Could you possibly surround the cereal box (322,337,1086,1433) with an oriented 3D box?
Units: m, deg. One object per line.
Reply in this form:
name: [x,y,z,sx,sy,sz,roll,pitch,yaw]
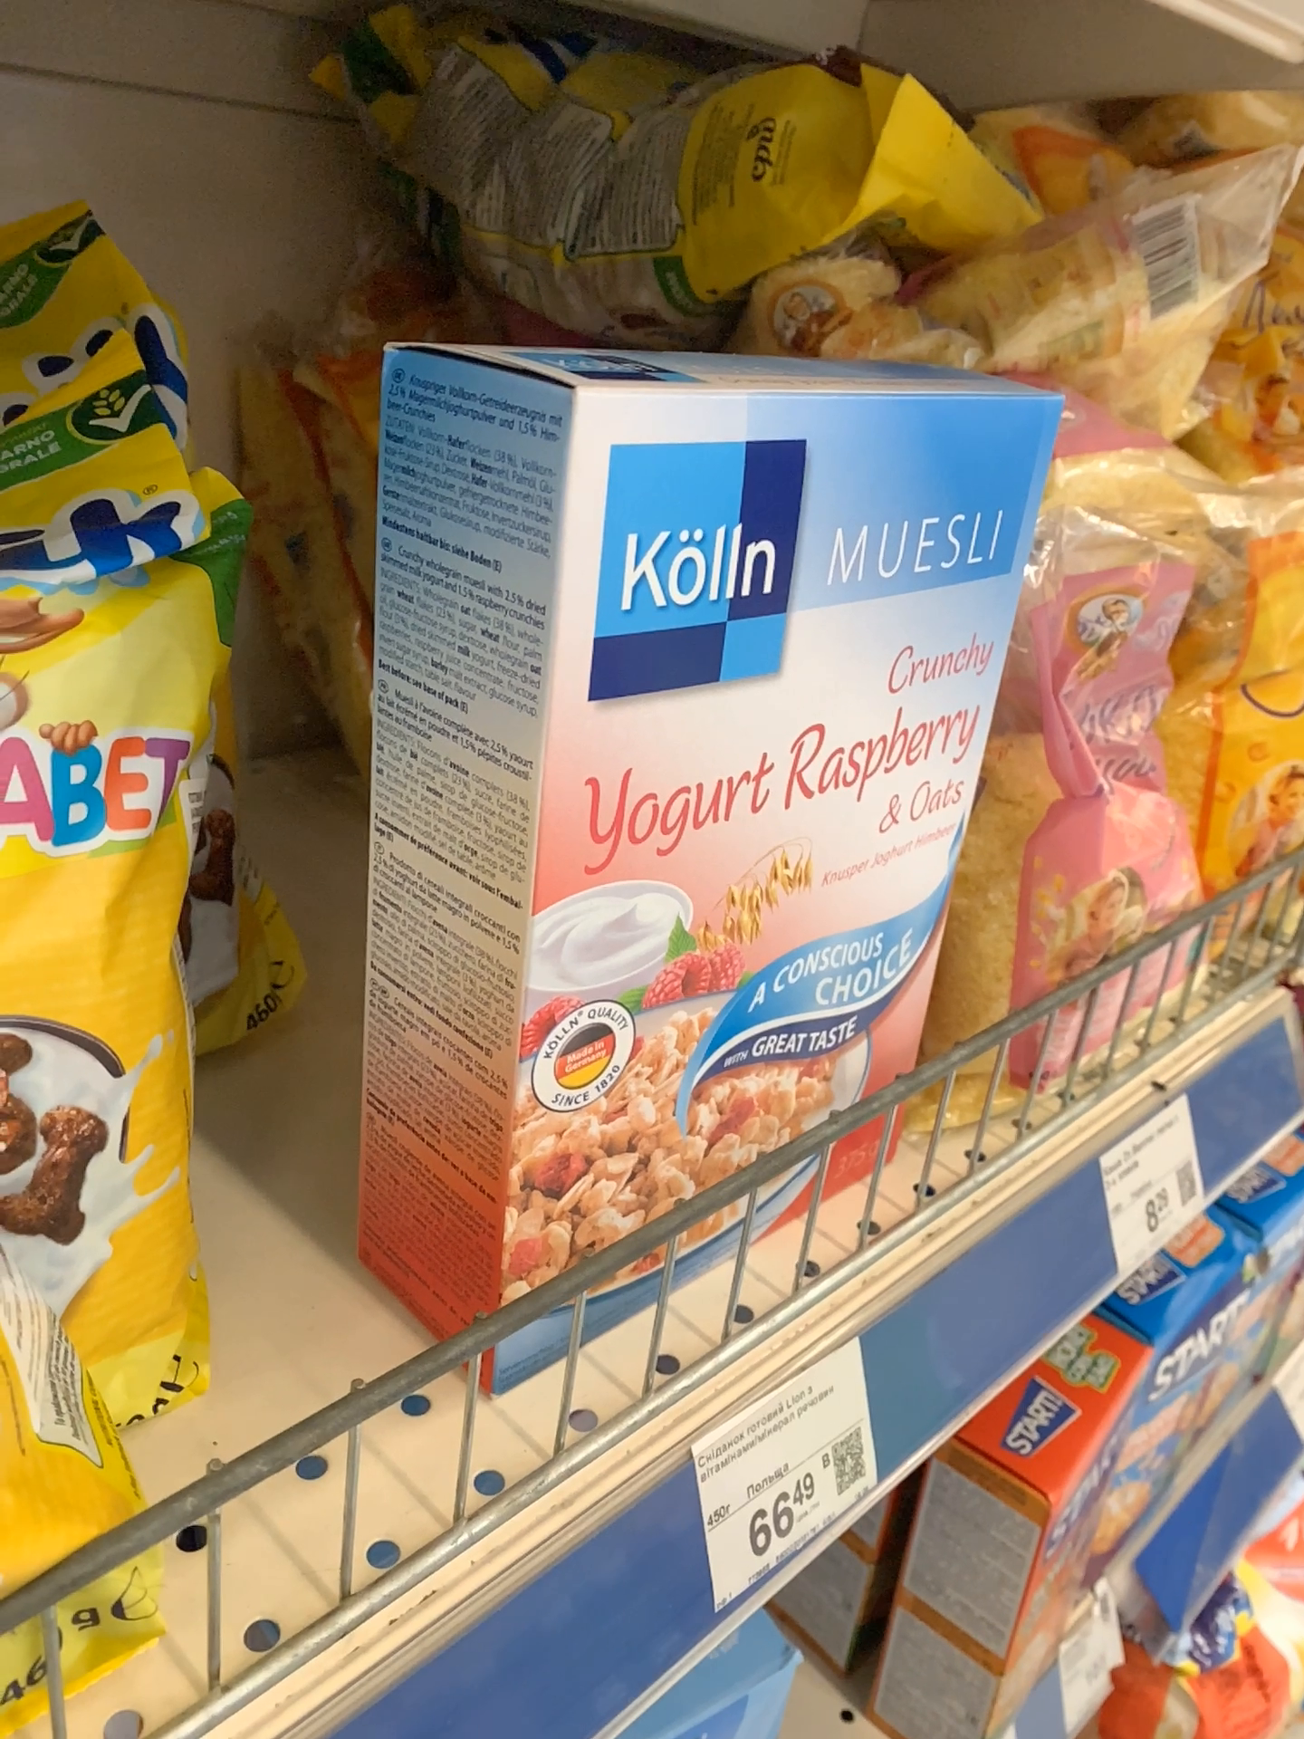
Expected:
cereal box: [0.008,-0.004,0.309,0.151,0.208,0.060,-16,34,-41]
